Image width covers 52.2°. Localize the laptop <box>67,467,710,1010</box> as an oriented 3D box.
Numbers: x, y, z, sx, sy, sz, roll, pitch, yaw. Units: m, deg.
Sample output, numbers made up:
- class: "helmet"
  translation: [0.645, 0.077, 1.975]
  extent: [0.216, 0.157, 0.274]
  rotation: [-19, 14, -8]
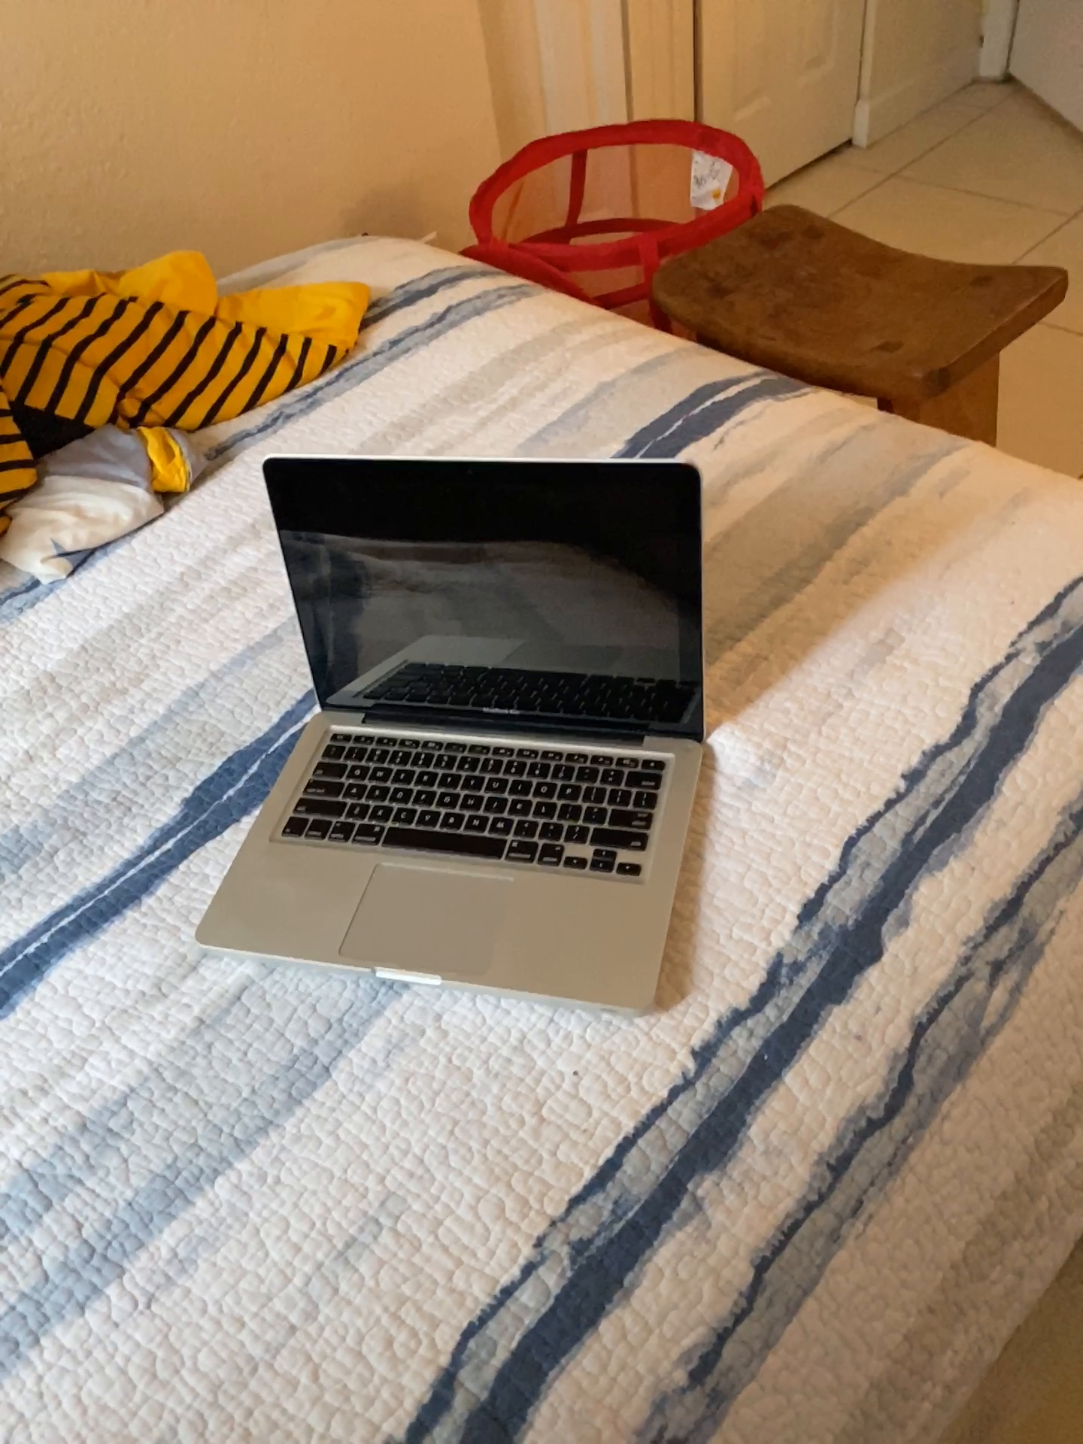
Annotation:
- class: "laptop"
  translation: [-0.066, -0.005, 0.733]
  extent: [0.318, 0.199, 0.279]
  rotation: [5, 47, 15]
